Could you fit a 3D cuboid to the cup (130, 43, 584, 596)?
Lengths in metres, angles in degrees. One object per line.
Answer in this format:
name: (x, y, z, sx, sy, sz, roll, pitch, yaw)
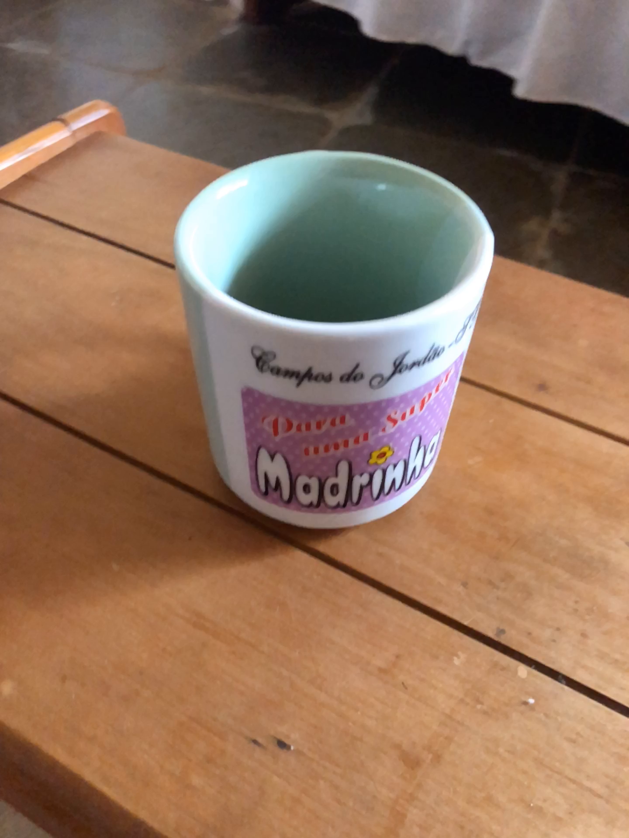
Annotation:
cup: (0.002, -0.033, 0.200, 0.080, 0.089, 0.131, -3, 49, -4)
